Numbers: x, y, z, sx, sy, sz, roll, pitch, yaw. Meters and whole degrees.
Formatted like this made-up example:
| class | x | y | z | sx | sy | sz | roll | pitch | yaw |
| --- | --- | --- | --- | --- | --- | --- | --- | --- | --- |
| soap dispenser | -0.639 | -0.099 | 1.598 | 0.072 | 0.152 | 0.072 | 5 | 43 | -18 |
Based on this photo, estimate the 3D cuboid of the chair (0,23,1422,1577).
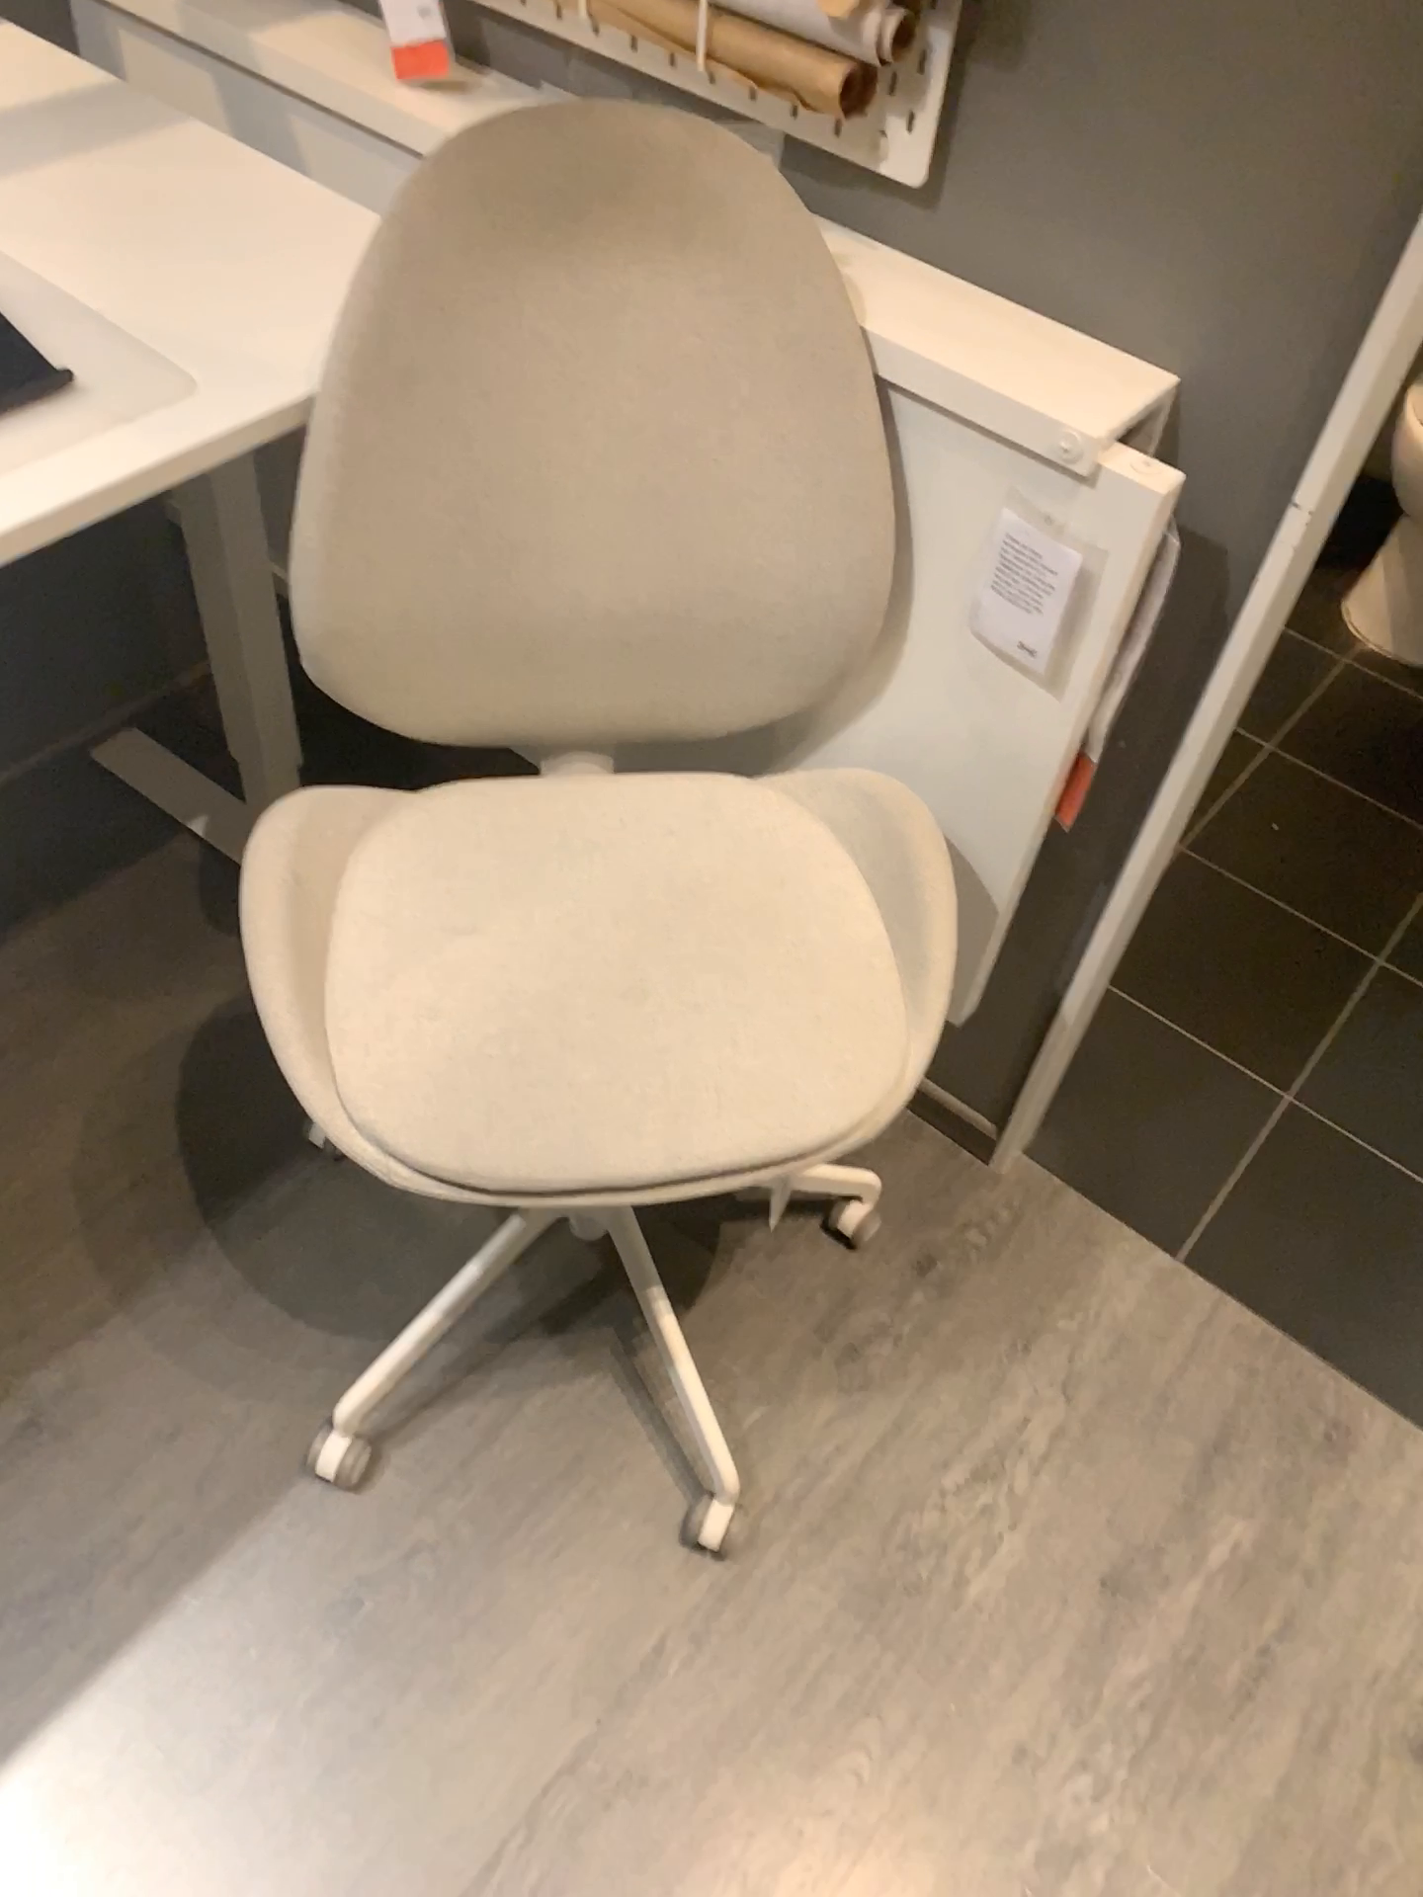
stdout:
| class | x | y | z | sx | sy | sz | roll | pitch | yaw |
| --- | --- | --- | --- | --- | --- | --- | --- | --- | --- |
| chair | -0.061 | -0.005 | 1.043 | 0.610 | 0.937 | 0.592 | 2 | 49 | -5 |
